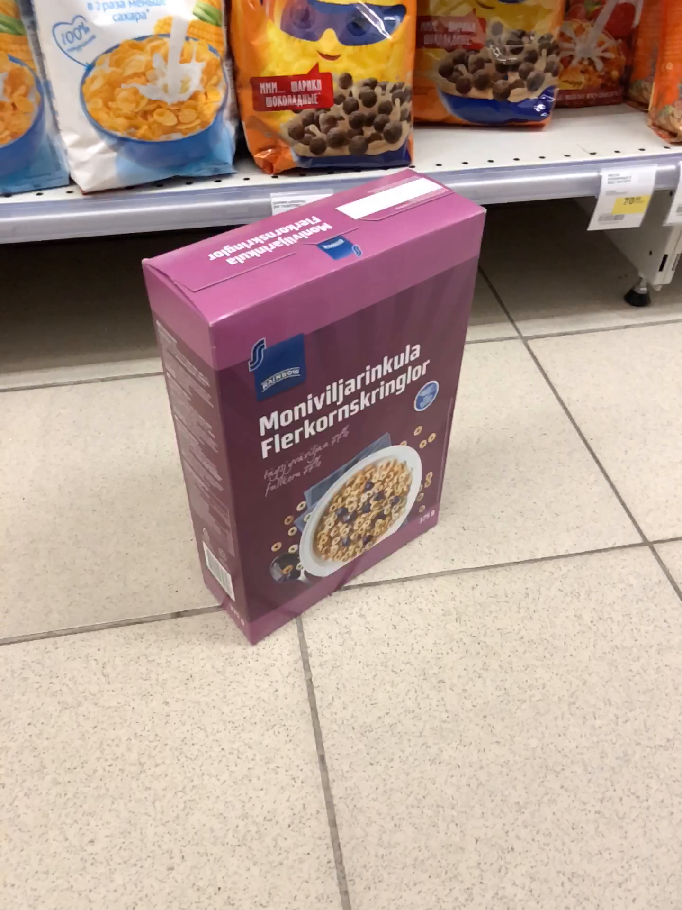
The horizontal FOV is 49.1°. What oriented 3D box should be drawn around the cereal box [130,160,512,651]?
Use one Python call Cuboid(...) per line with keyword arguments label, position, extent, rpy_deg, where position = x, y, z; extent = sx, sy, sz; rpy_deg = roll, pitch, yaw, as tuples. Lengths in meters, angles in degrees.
Cuboid(label="cereal box", position=(-0.004, -0.026, 0.518), extent=(0.211, 0.278, 0.080), rpy_deg=(-29, 50, -27))
